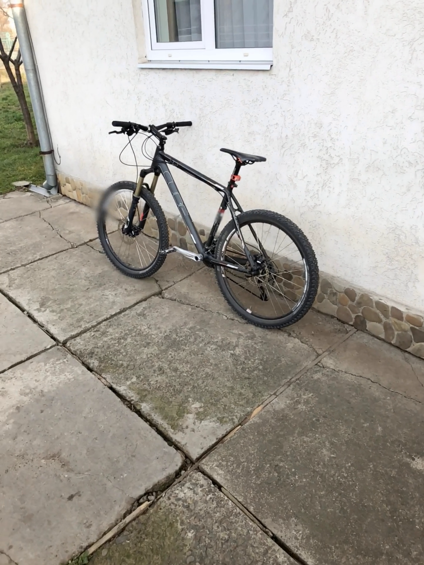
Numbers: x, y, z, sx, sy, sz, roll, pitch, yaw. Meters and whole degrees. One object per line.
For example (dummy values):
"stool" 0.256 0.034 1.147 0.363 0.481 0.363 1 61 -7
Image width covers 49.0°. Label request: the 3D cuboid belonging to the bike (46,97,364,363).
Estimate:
"bike" -0.115 -0.462 2.894 1.776 1.090 0.689 21 36 35
